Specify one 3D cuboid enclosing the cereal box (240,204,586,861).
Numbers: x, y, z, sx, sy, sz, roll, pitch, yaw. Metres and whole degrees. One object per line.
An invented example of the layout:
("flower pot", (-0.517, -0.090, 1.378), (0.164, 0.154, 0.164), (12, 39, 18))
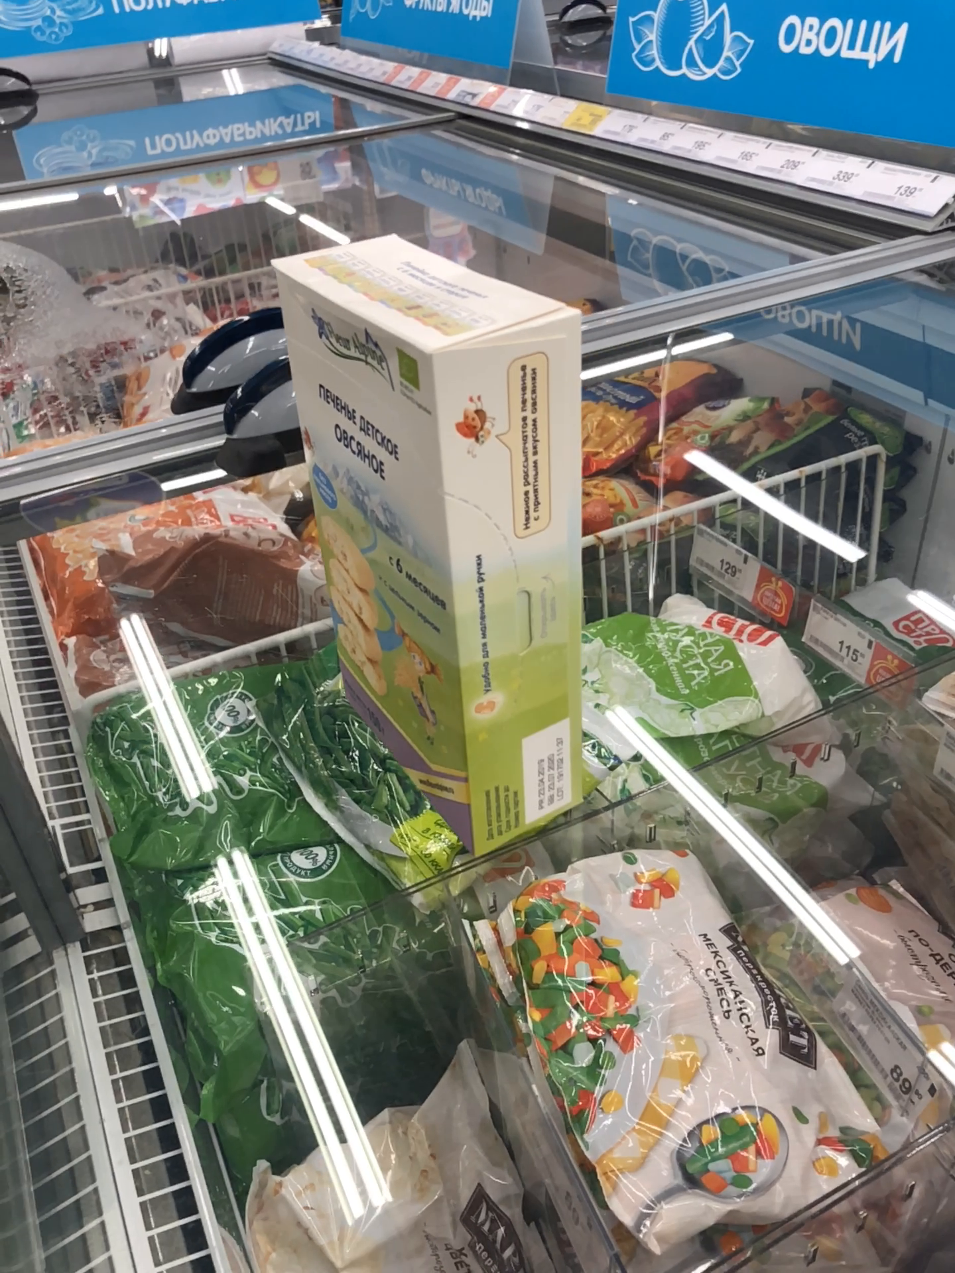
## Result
("cereal box", (-0.019, -0.036, 0.364), (0.050, 0.189, 0.121), (-22, 38, -23))
